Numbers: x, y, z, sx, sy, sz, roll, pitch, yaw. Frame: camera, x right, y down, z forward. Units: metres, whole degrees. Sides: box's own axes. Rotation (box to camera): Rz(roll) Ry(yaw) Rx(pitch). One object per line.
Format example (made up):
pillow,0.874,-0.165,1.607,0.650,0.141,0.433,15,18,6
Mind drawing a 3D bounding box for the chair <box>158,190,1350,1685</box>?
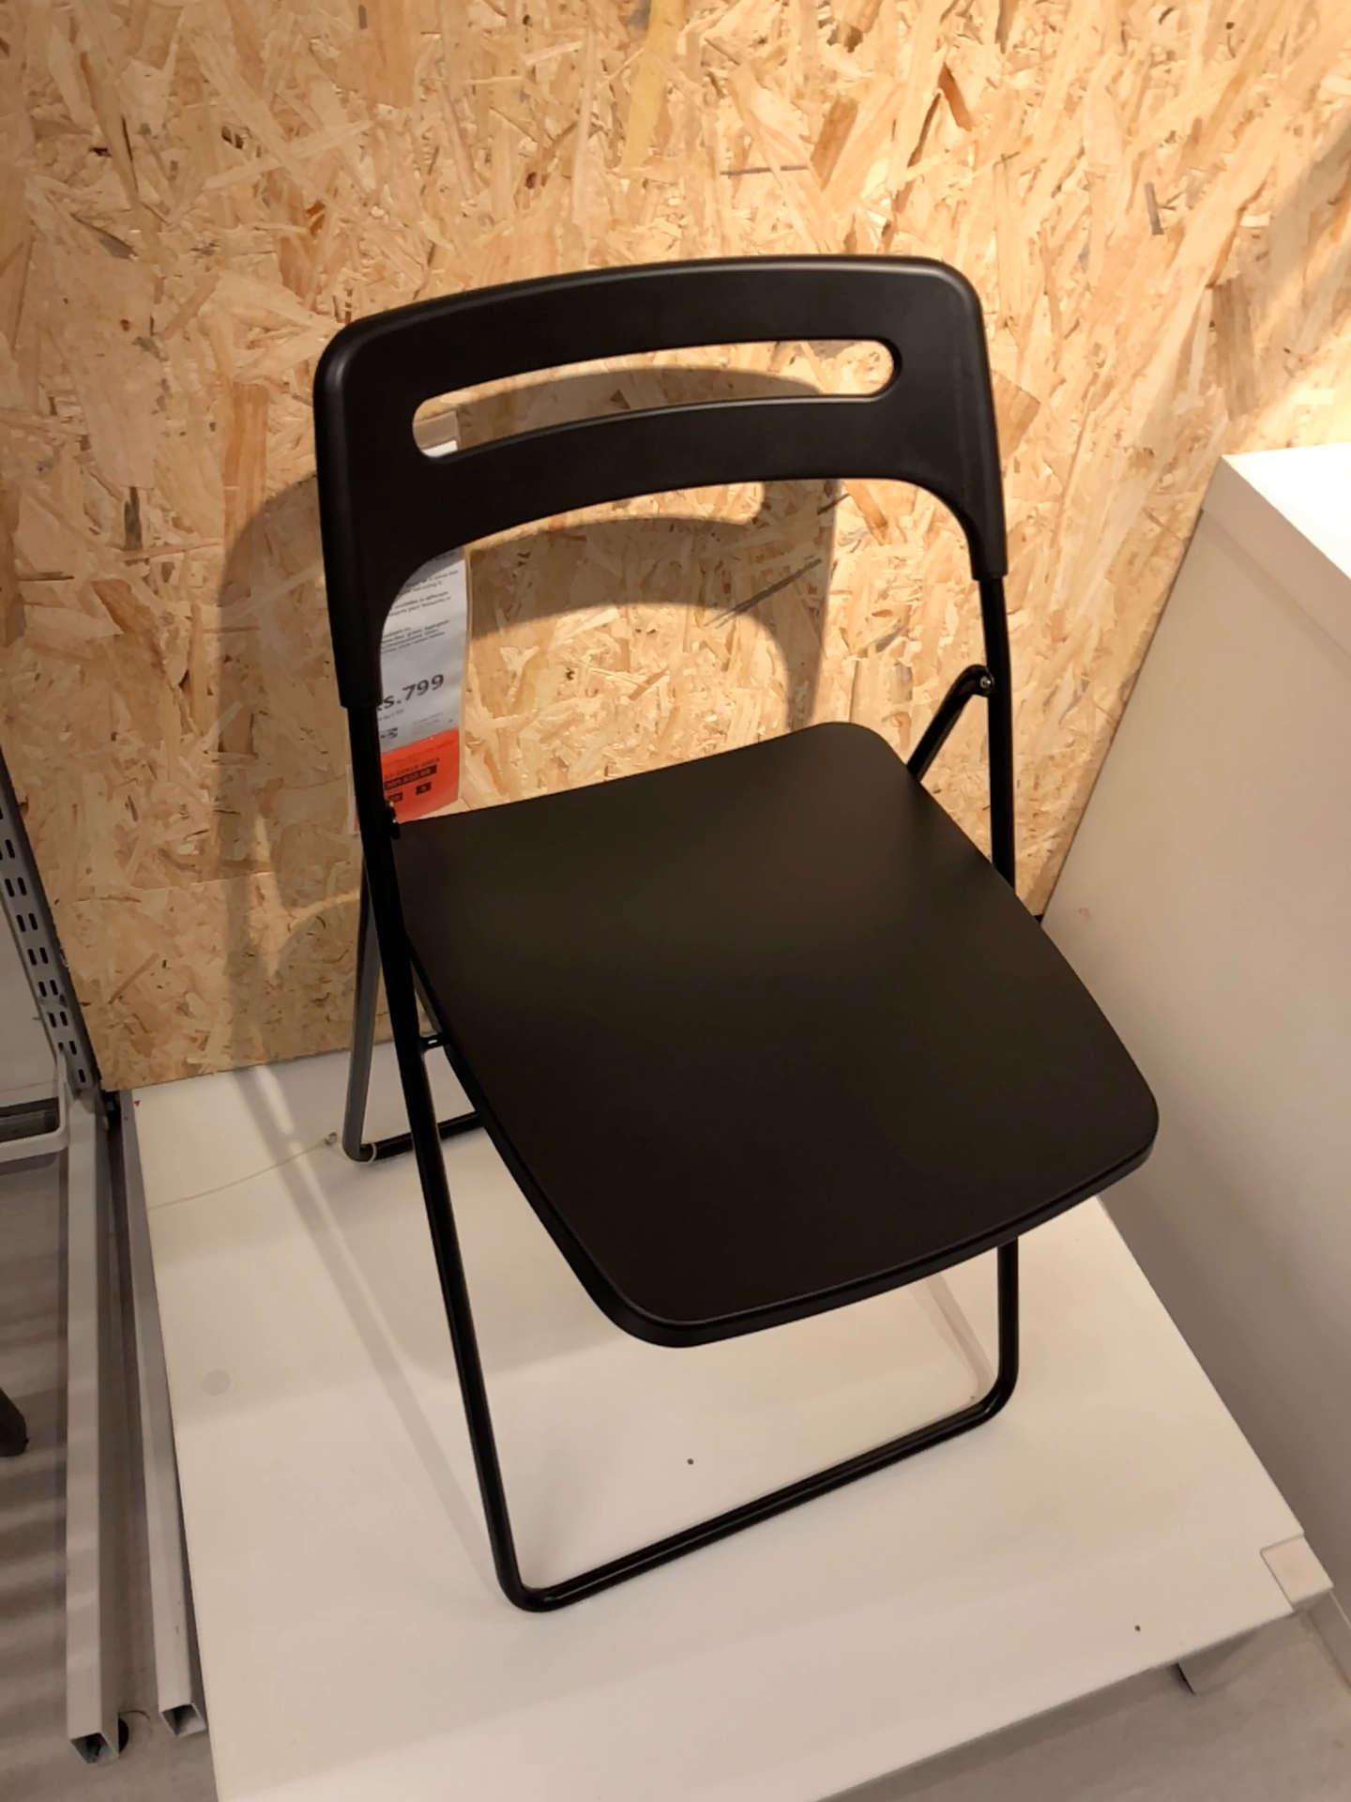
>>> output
chair,0.020,0.034,0.970,0.491,0.735,0.523,-14,49,-19
